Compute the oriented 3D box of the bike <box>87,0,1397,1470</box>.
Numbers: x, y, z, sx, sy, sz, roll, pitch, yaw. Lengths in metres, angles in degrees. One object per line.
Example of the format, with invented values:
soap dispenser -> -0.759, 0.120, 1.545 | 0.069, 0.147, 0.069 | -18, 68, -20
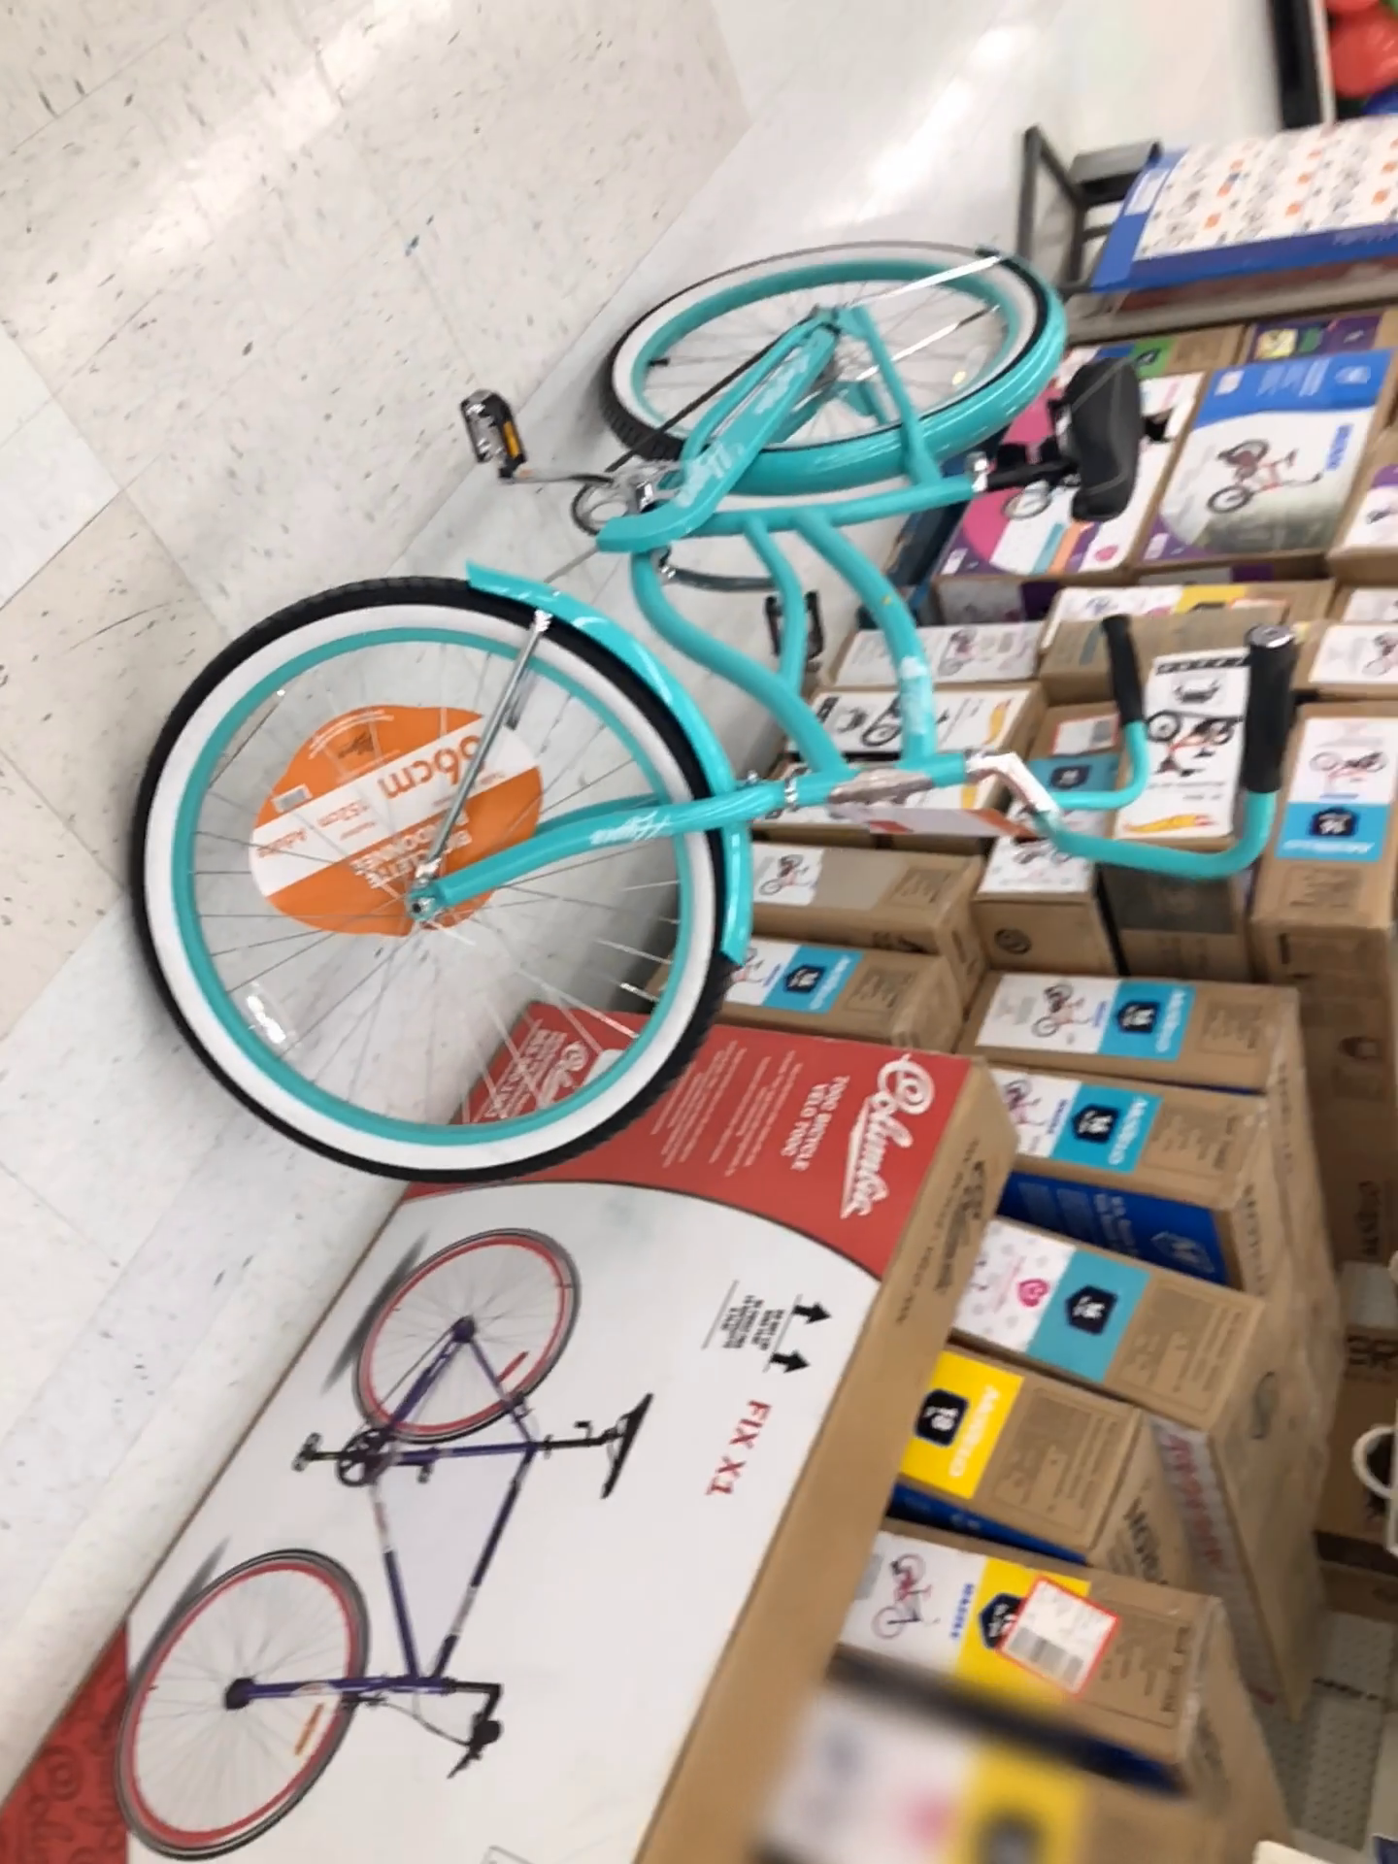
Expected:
bike -> 0.274, -0.411, 1.914 | 0.855, 1.153, 1.583 | 54, 48, -47
